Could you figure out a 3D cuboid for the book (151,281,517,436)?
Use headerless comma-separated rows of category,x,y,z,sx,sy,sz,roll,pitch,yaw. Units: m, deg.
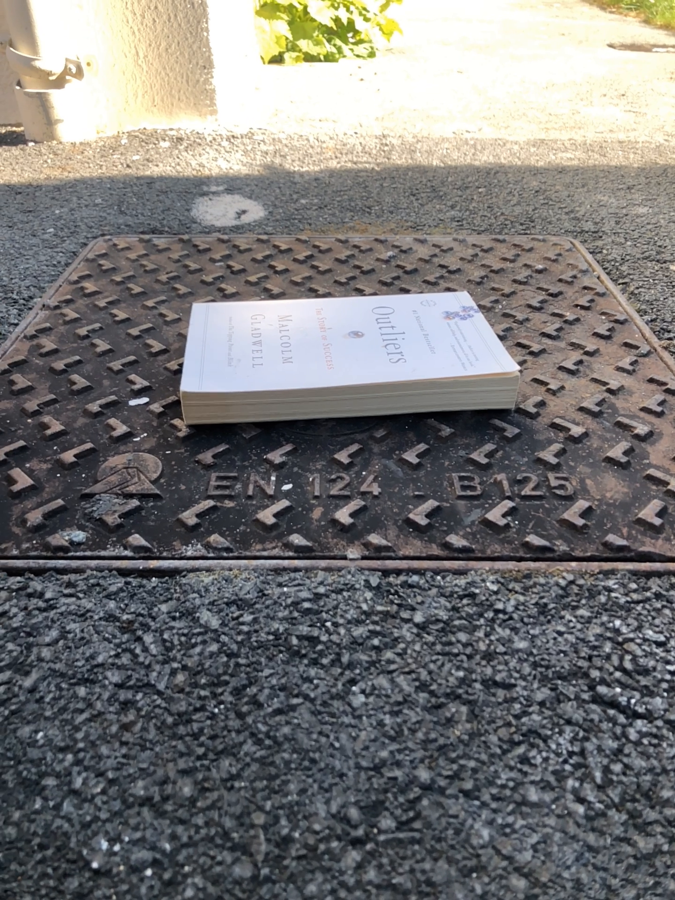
book,-0.007,-0.066,0.488,0.209,0.030,0.140,-3,34,-5
